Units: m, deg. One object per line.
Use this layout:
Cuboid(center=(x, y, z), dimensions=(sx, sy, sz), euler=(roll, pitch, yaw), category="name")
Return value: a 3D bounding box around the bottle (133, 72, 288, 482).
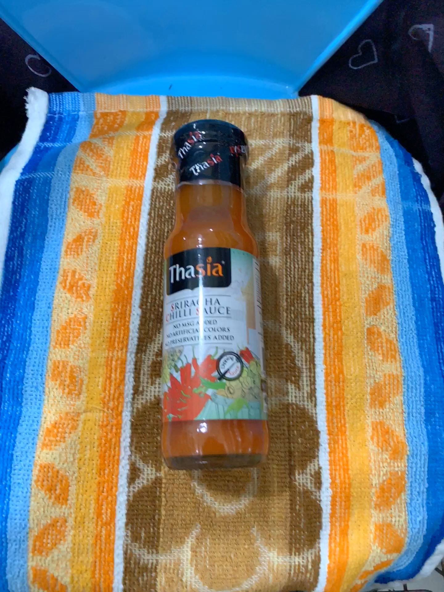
Cuboid(center=(-0.002, -0.011, 0.214), dimensions=(0.050, 0.050, 0.180), euler=(-5, 69, 13), category="bottle")
